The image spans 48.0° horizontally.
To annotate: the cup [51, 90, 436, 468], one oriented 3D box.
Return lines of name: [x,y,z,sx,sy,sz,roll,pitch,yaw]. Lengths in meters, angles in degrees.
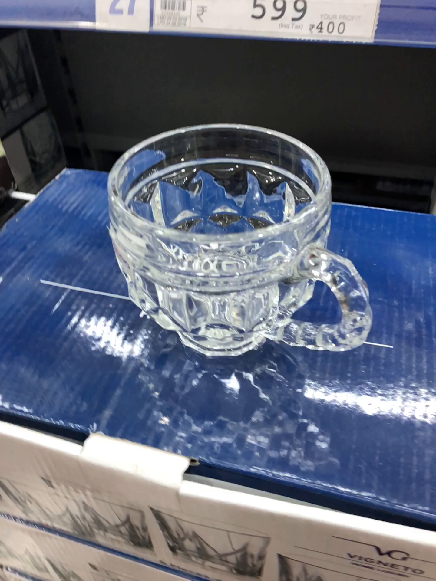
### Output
cup: [0.014,-0.017,0.179,0.090,0.060,0.110,-32,50,-29]
